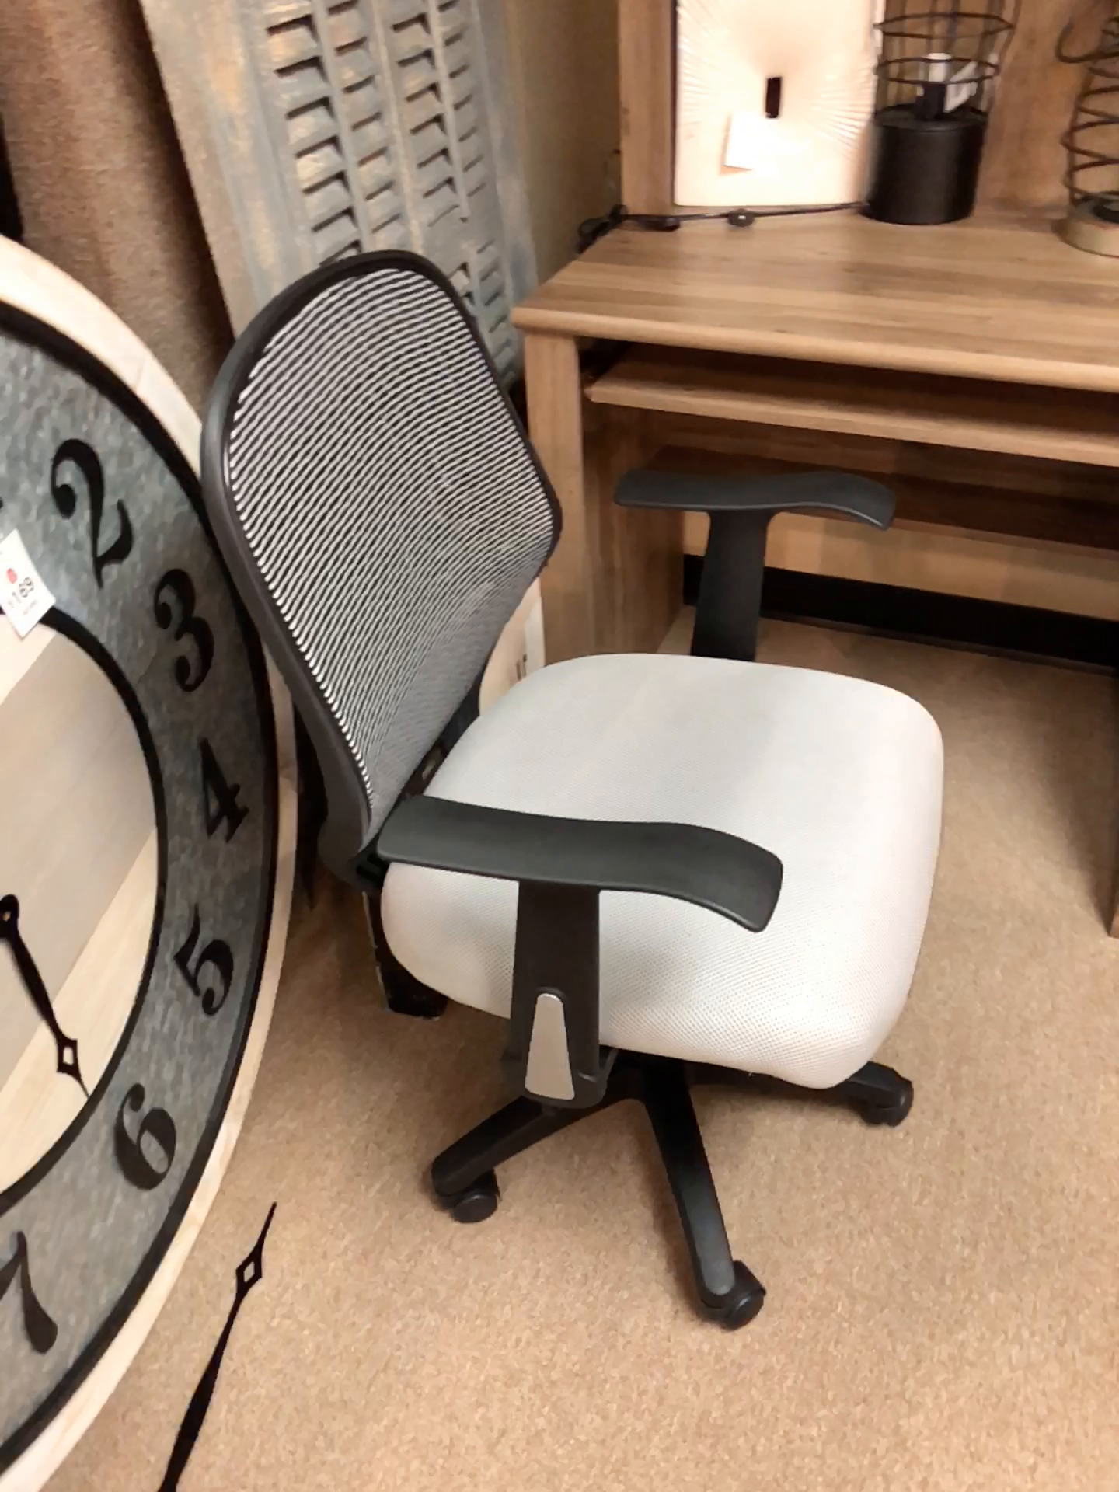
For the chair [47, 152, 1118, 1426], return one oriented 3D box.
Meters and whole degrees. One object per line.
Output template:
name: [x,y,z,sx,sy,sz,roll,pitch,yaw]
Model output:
chair: [0.141,0.004,1.117,0.671,0.864,0.614,11,41,20]
